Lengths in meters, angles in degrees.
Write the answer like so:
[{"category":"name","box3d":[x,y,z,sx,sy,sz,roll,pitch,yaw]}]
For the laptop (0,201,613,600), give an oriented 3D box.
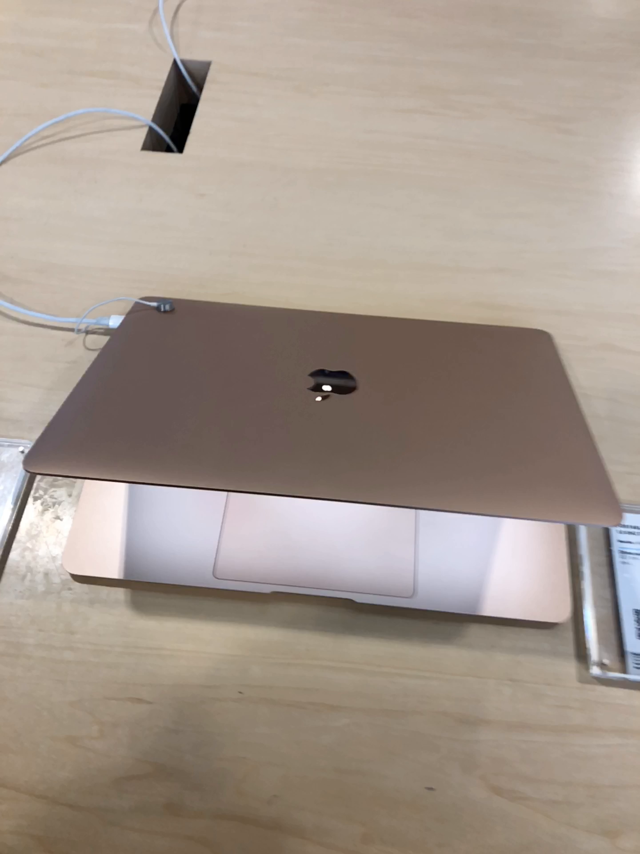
[{"category":"laptop","box3d":[0.003,-0.021,0.425,0.288,0.093,0.203,5,58,3]}]
